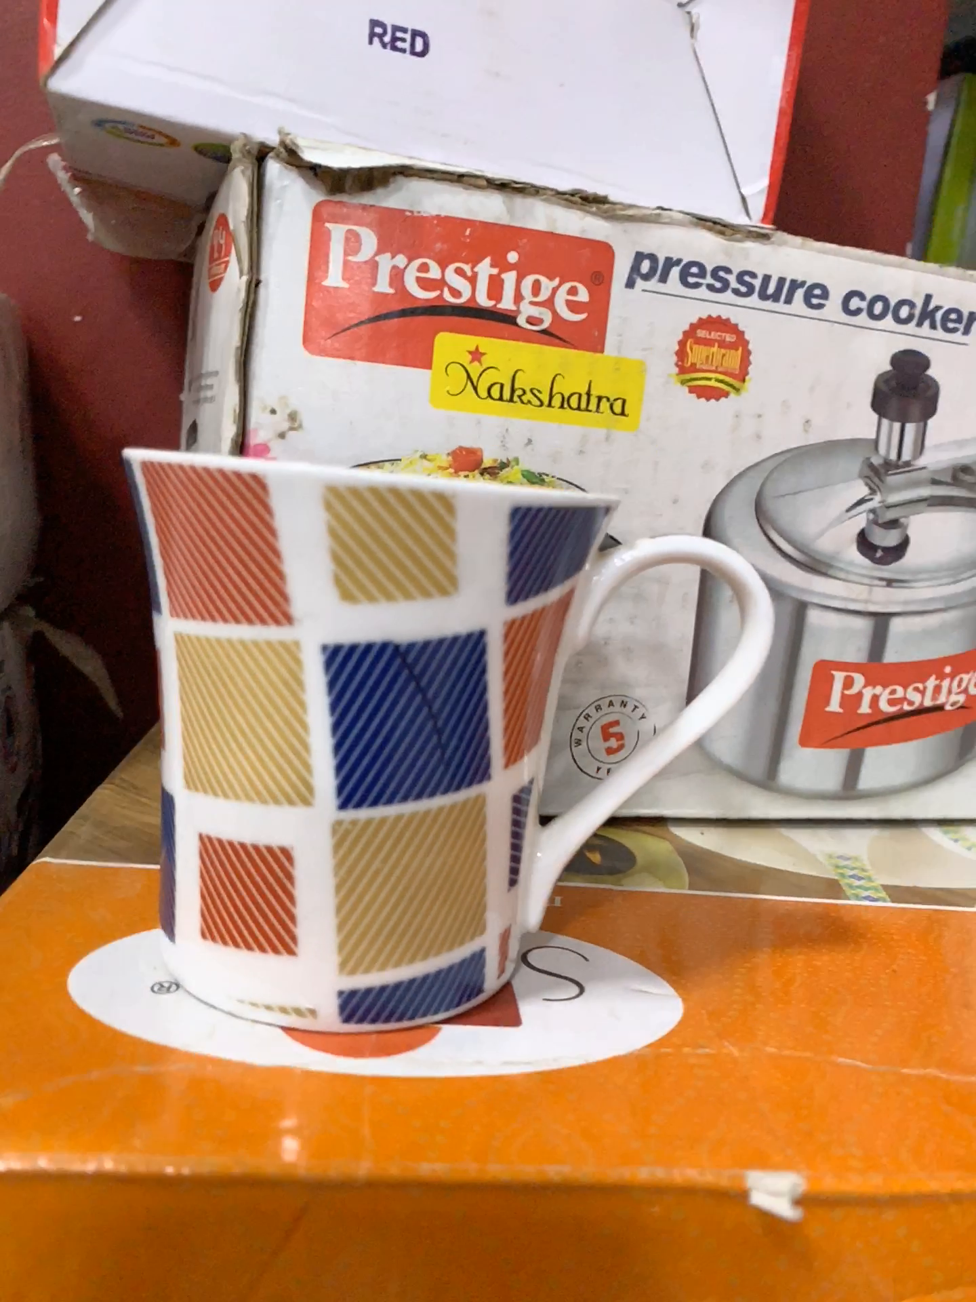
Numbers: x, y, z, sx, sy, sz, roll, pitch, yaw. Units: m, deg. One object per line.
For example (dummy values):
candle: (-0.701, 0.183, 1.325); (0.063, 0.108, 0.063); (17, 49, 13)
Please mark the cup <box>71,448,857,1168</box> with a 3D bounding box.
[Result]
cup: (-0.010, 0.017, 0.170); (0.100, 0.090, 0.070); (3, 10, -16)
